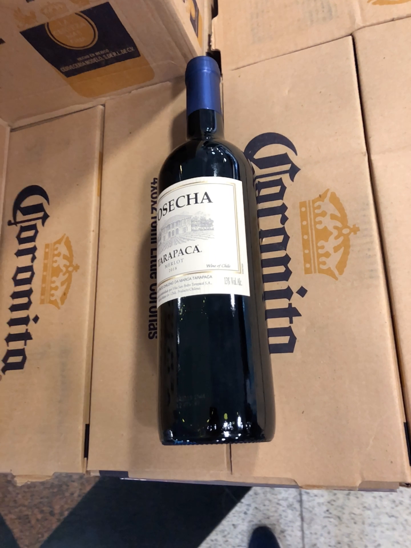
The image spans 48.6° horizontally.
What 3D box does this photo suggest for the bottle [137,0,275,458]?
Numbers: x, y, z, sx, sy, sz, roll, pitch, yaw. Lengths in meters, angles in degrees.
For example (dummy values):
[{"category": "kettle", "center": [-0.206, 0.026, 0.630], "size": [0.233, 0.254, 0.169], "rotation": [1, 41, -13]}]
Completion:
[{"category": "bottle", "center": [0.000, -0.049, 0.323], "size": [0.070, 0.060, 0.331], "rotation": [-5, 67, 8]}]
